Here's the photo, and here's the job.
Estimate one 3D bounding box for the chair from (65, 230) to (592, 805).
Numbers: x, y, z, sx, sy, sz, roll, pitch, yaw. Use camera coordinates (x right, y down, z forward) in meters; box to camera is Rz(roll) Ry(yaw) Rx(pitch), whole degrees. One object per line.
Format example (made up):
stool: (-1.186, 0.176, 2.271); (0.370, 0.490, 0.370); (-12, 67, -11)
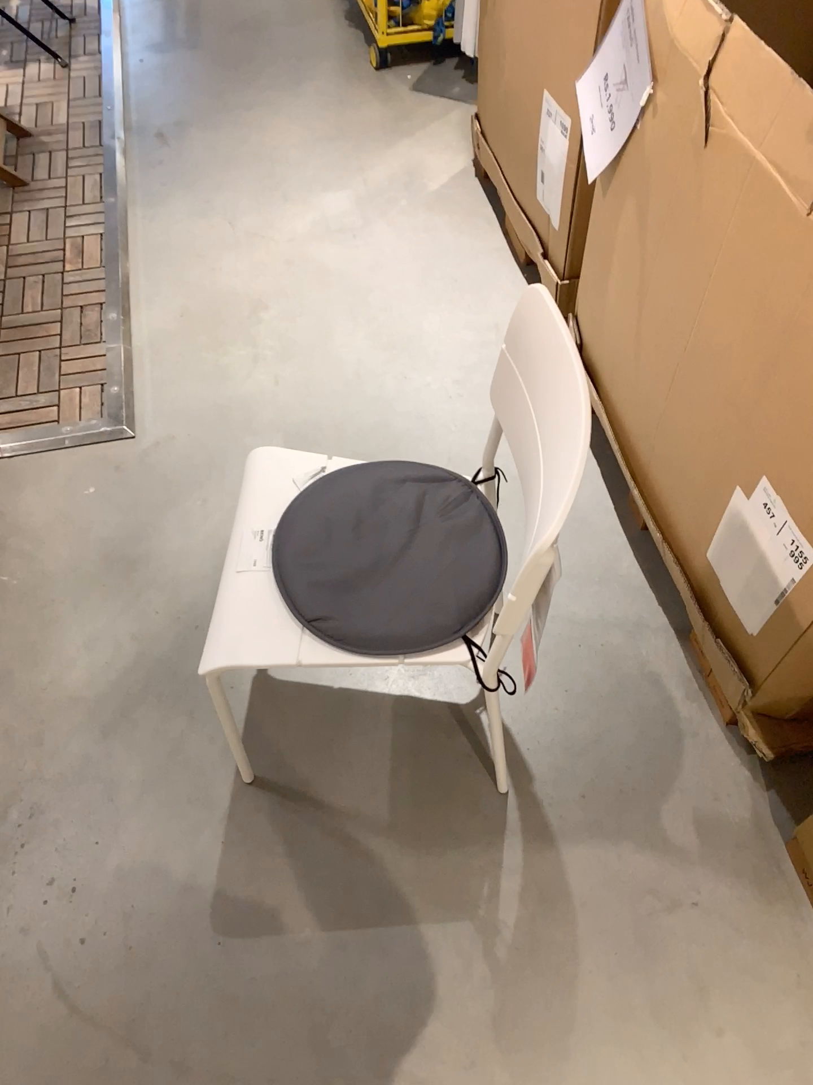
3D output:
chair: (-0.060, 0.016, 1.192); (0.490, 0.718, 0.461); (3, 55, 2)
